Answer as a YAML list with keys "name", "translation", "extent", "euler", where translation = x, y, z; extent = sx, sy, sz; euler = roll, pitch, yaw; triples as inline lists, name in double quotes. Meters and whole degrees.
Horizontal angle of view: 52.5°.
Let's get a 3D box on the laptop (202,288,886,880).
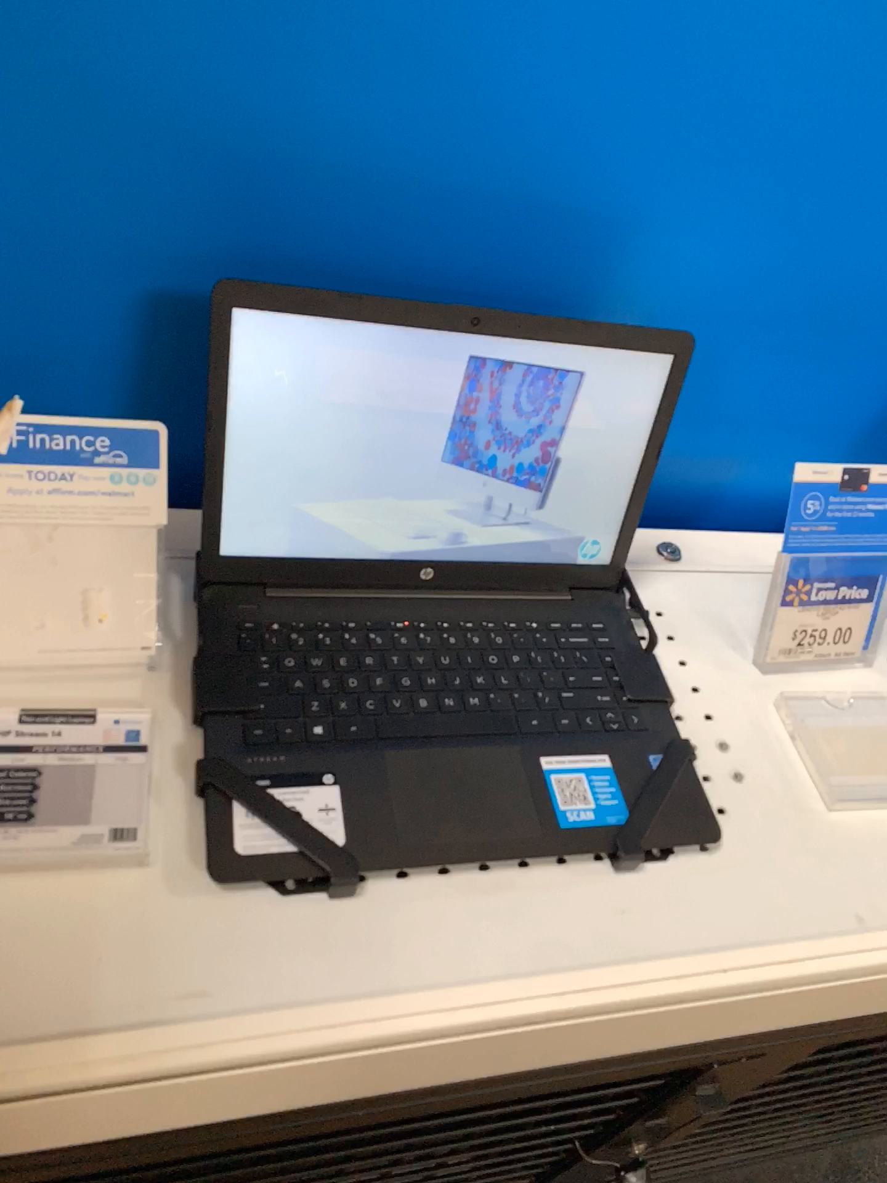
- name: "laptop"
  translation: [0.027, -0.008, 0.560]
  extent: [0.326, 0.203, 0.270]
  euler: [0, 47, -18]
